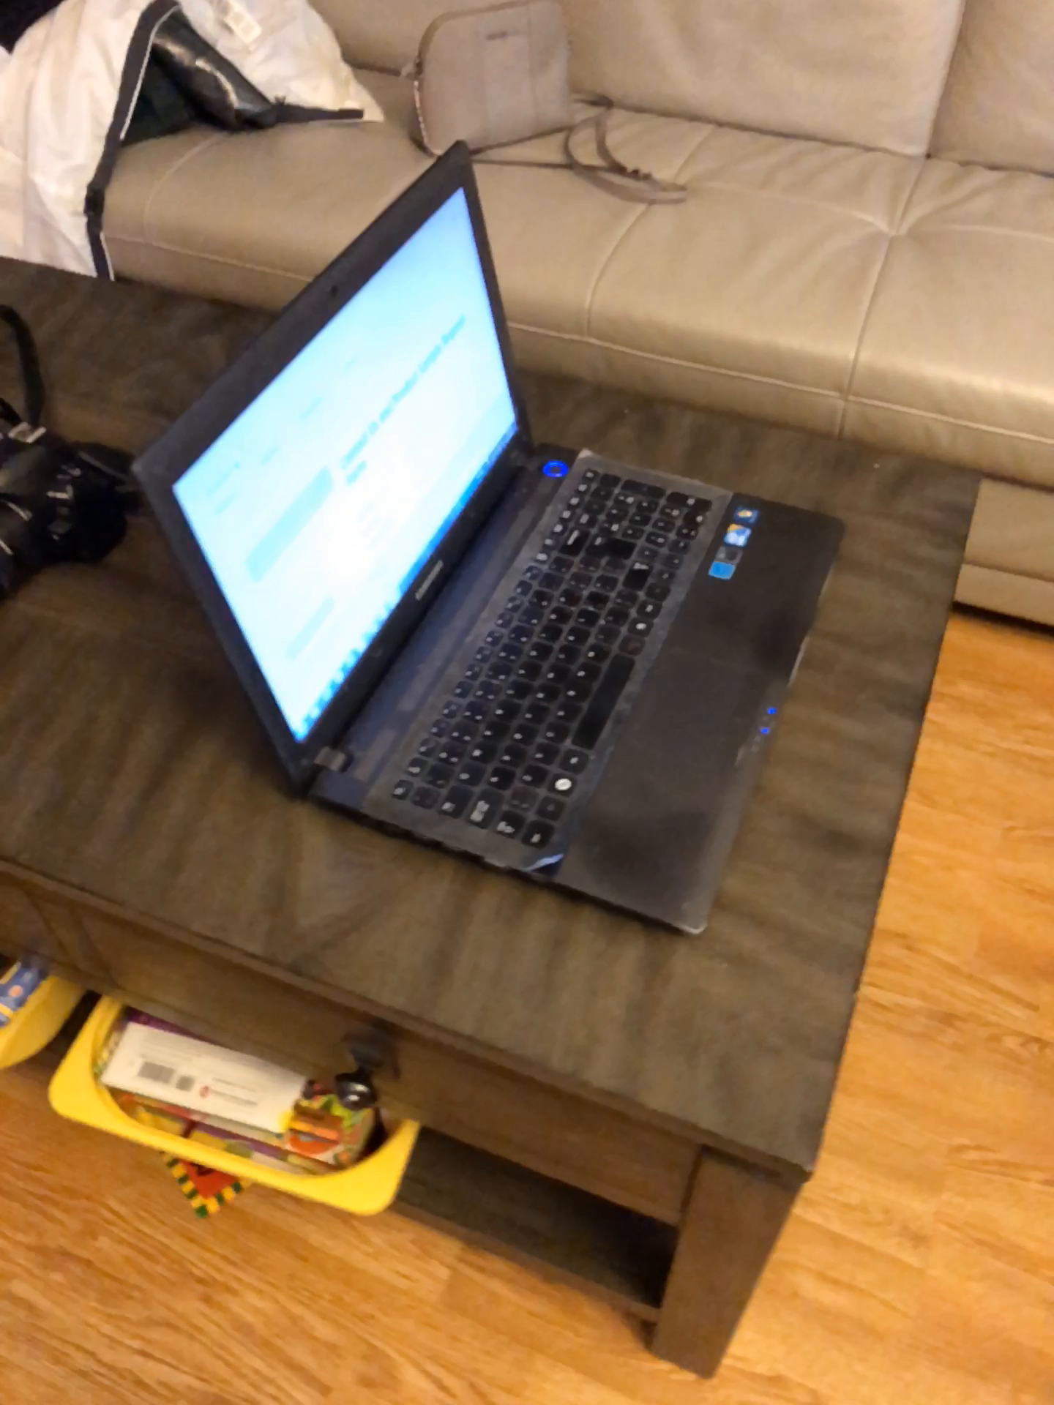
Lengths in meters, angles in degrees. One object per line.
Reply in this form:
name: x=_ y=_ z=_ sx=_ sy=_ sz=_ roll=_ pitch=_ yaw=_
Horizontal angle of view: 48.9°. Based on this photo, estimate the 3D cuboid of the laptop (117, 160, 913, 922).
laptop: x=0.021 y=-0.121 z=0.712 sx=0.308 sy=0.231 sz=0.369 roll=16 pitch=50 yaw=15
